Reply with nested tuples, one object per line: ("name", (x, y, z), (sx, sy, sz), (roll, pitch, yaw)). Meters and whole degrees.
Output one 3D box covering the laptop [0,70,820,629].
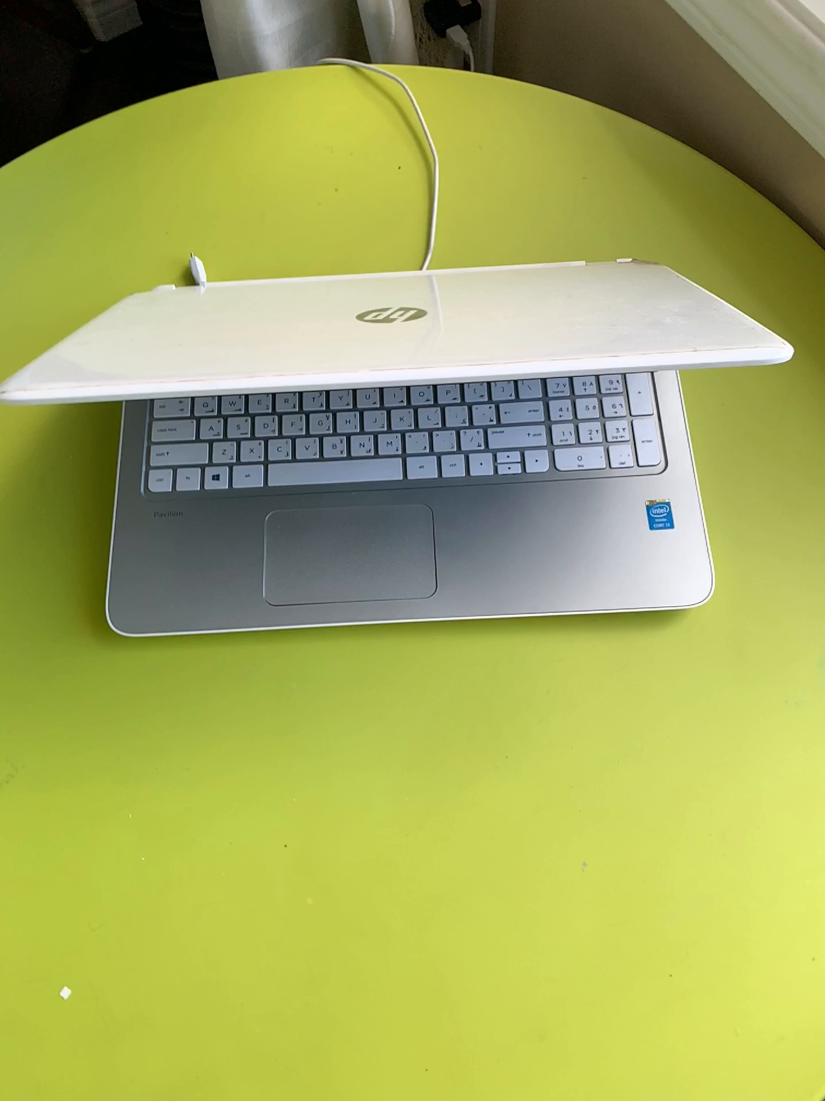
("laptop", (-0.011, -0.105, 0.484), (0.367, 0.163, 0.244), (-3, 69, 0))
